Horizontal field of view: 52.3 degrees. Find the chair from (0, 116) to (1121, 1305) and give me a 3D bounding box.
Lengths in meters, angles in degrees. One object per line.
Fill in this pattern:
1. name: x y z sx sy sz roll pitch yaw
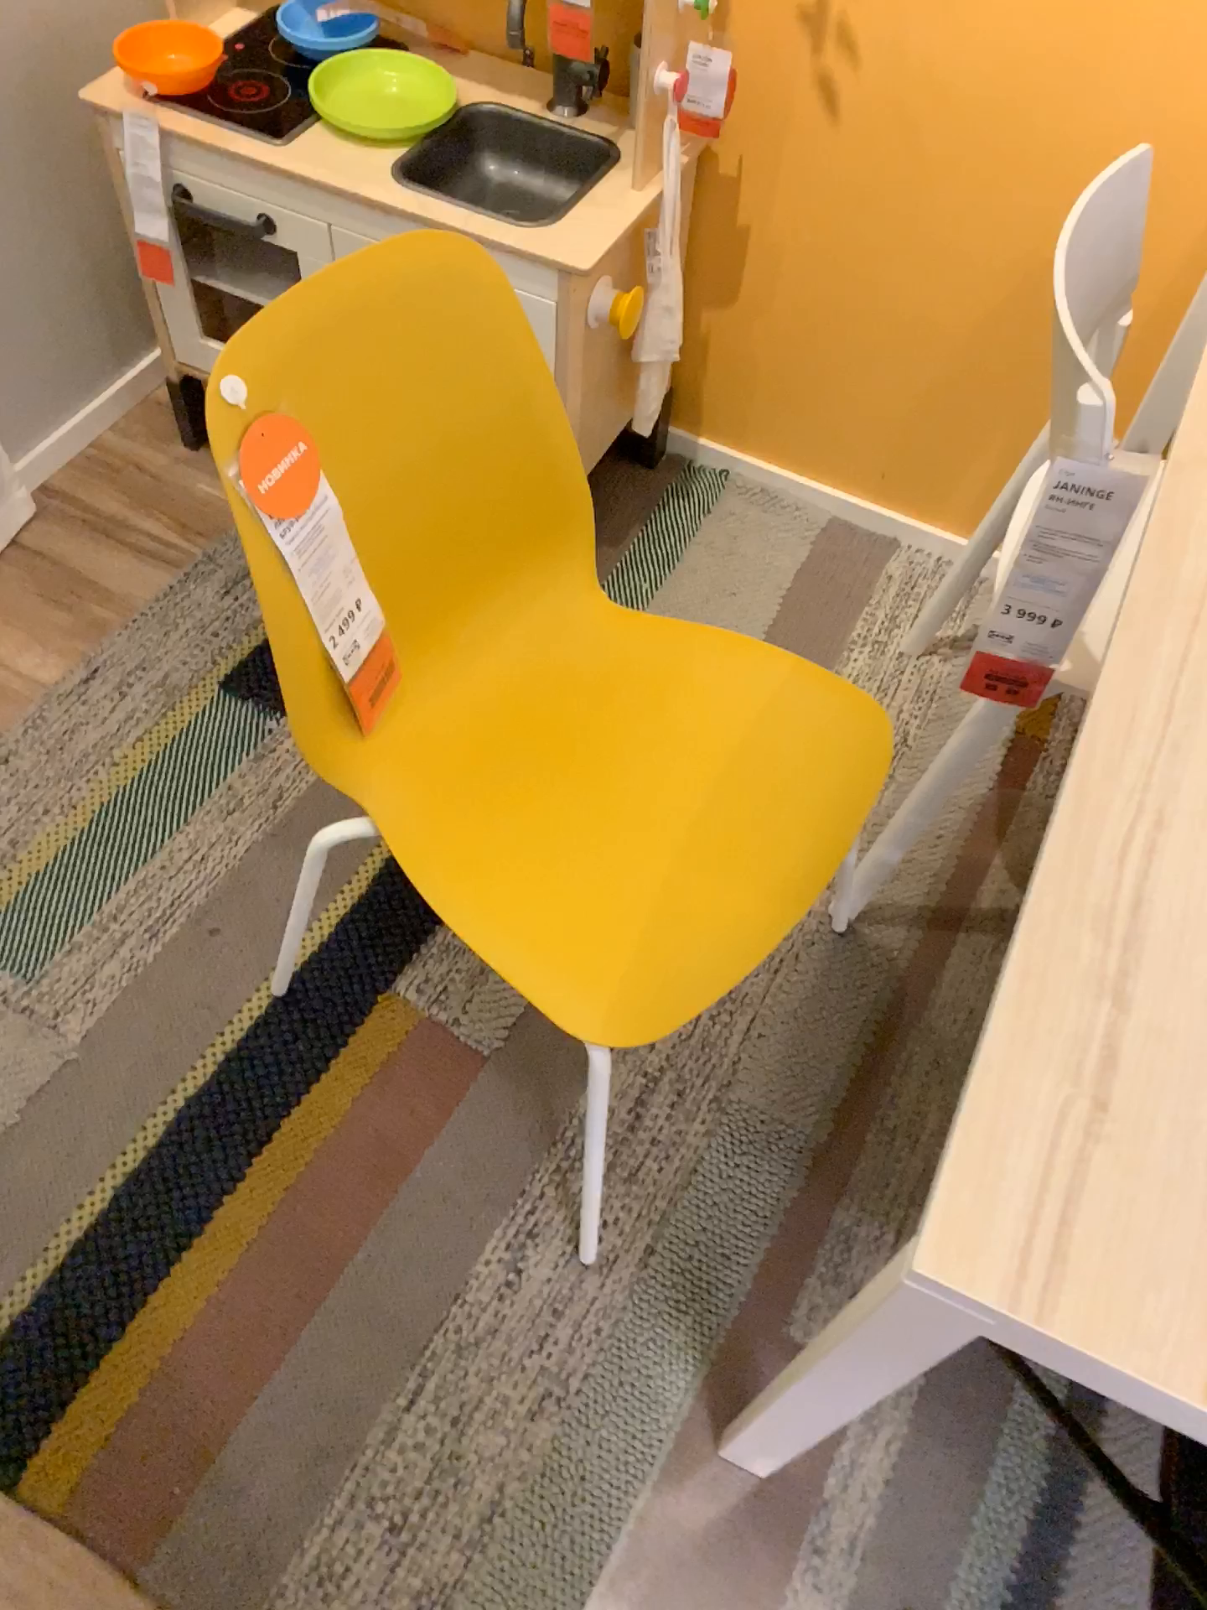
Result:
1. chair: -0.036 -0.030 1.154 0.555 0.810 0.558 30 59 15
